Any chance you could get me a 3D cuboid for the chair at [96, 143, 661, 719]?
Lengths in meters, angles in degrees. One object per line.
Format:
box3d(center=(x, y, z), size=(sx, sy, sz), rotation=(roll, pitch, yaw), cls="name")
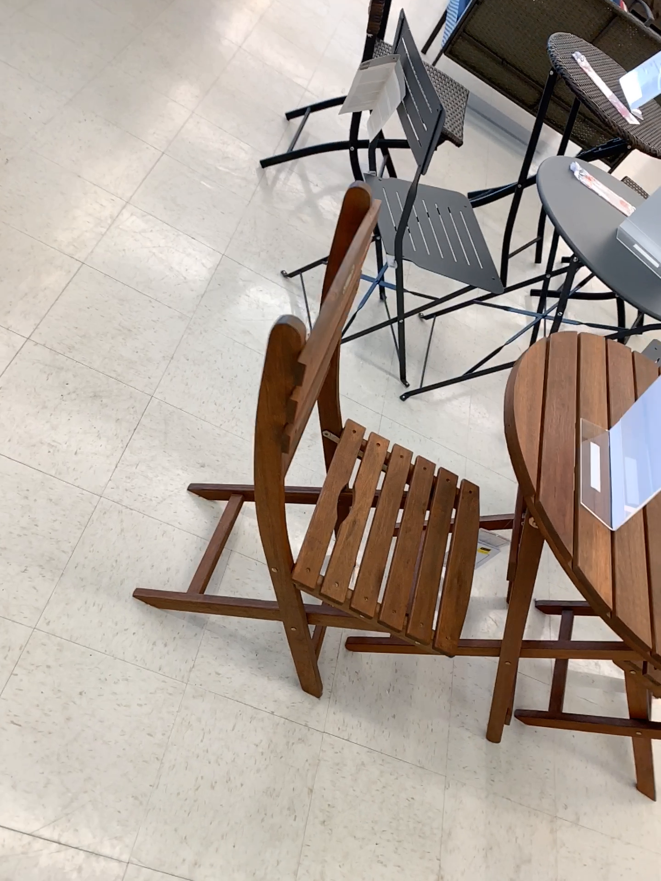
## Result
box3d(center=(0.039, 0.068, 1.141), size=(0.550, 0.776, 0.442), rotation=(28, 48, -12), cls="chair")
